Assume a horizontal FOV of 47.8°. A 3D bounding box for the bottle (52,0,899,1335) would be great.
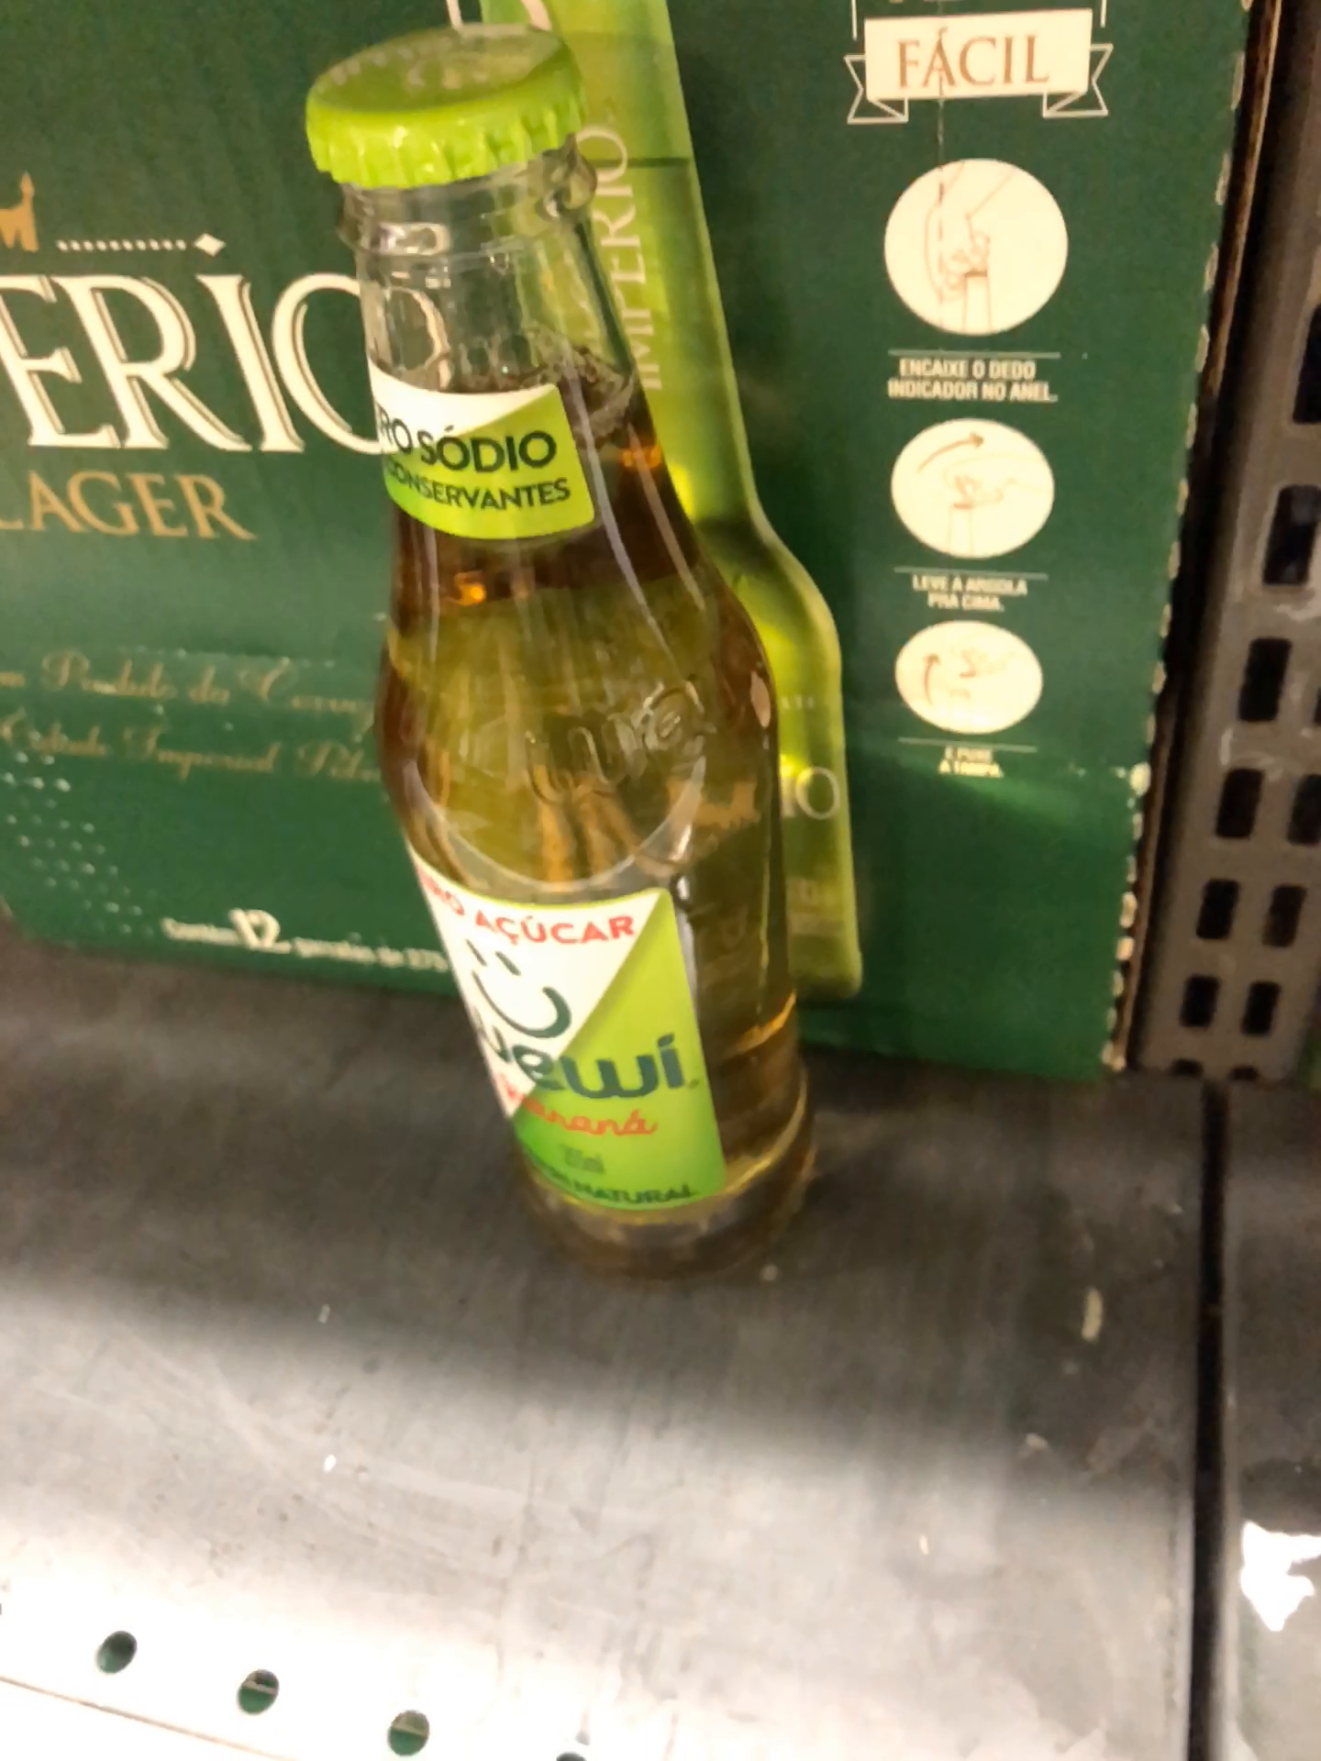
[{"bbox_3d":[-0.006,-0.015,0.212,0.060,0.198,0.050,17,52,24],"label":"bottle"}]
